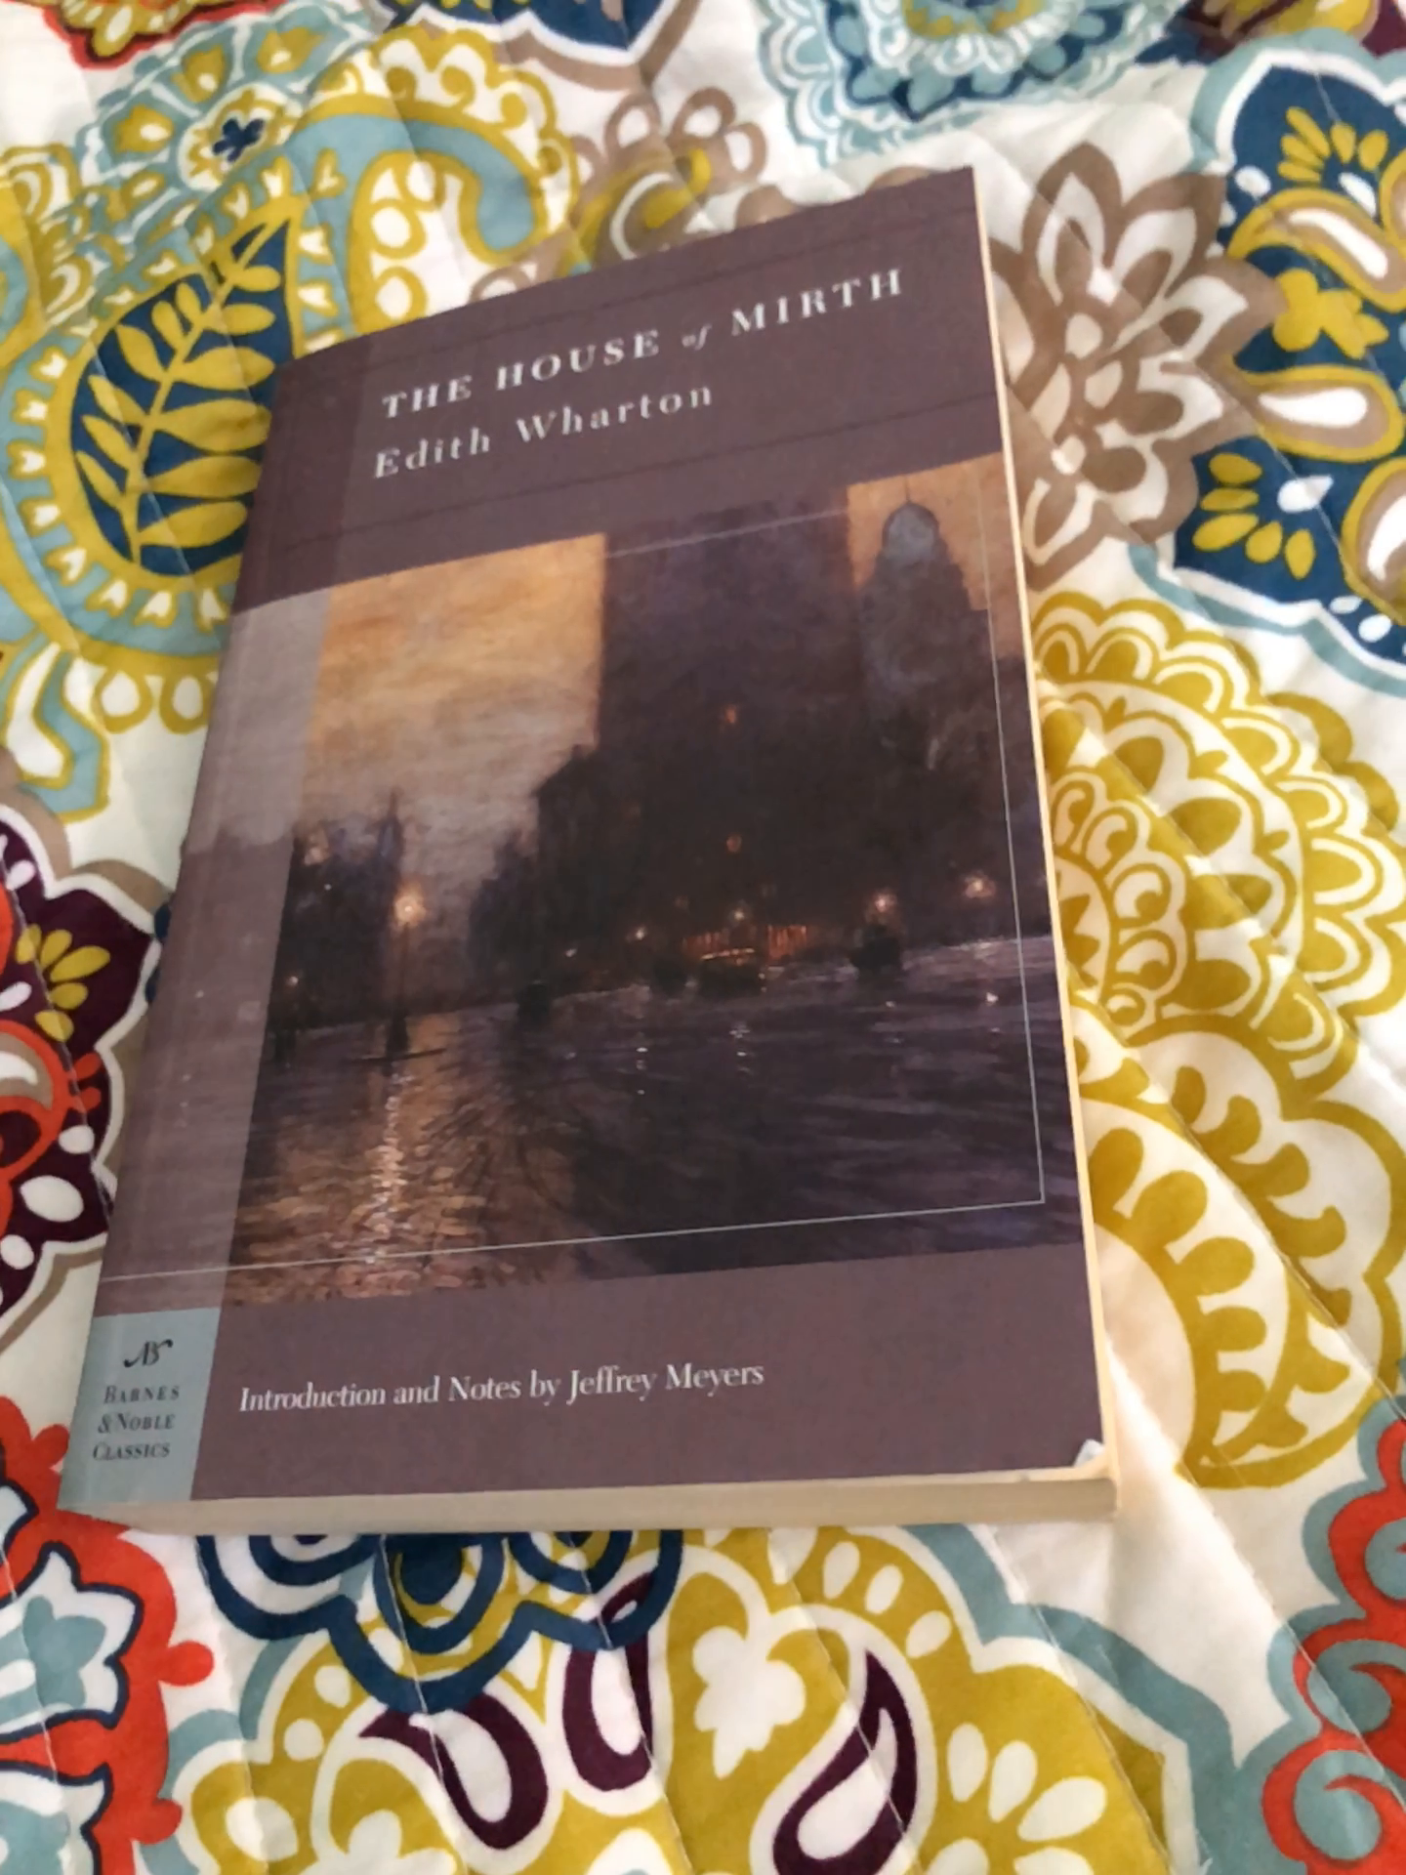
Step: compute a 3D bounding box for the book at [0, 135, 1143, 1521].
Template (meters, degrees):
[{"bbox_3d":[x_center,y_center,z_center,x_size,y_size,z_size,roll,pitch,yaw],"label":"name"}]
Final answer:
[{"bbox_3d":[-0.017,-0.017,0.239,0.142,0.040,0.195,-7,65,18],"label":"book"}]
